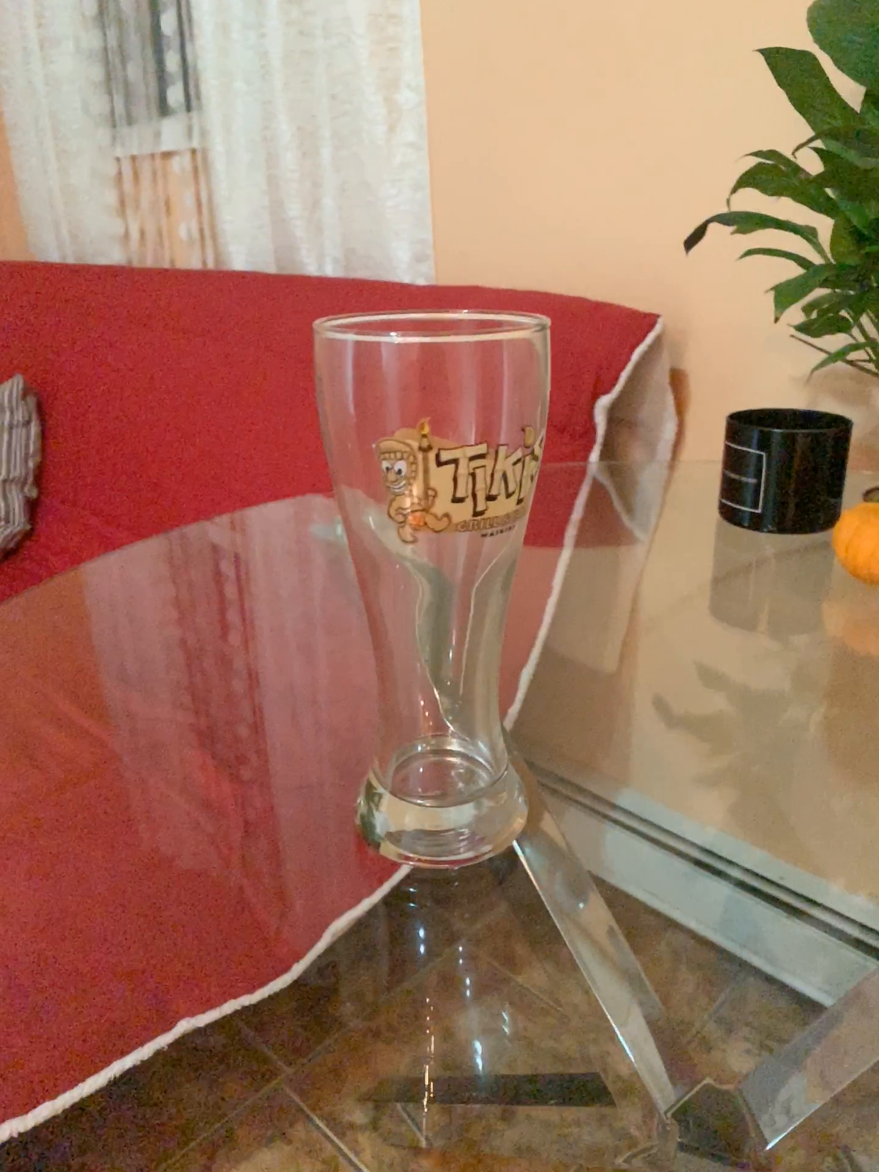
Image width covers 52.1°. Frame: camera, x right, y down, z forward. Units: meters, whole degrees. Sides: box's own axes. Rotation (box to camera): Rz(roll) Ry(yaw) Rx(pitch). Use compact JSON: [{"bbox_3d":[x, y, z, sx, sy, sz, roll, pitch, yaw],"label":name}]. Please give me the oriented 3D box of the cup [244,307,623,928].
[{"bbox_3d":[-0.003,0.003,0.360,0.093,0.211,0.100,0,21,0],"label":"cup"}]
